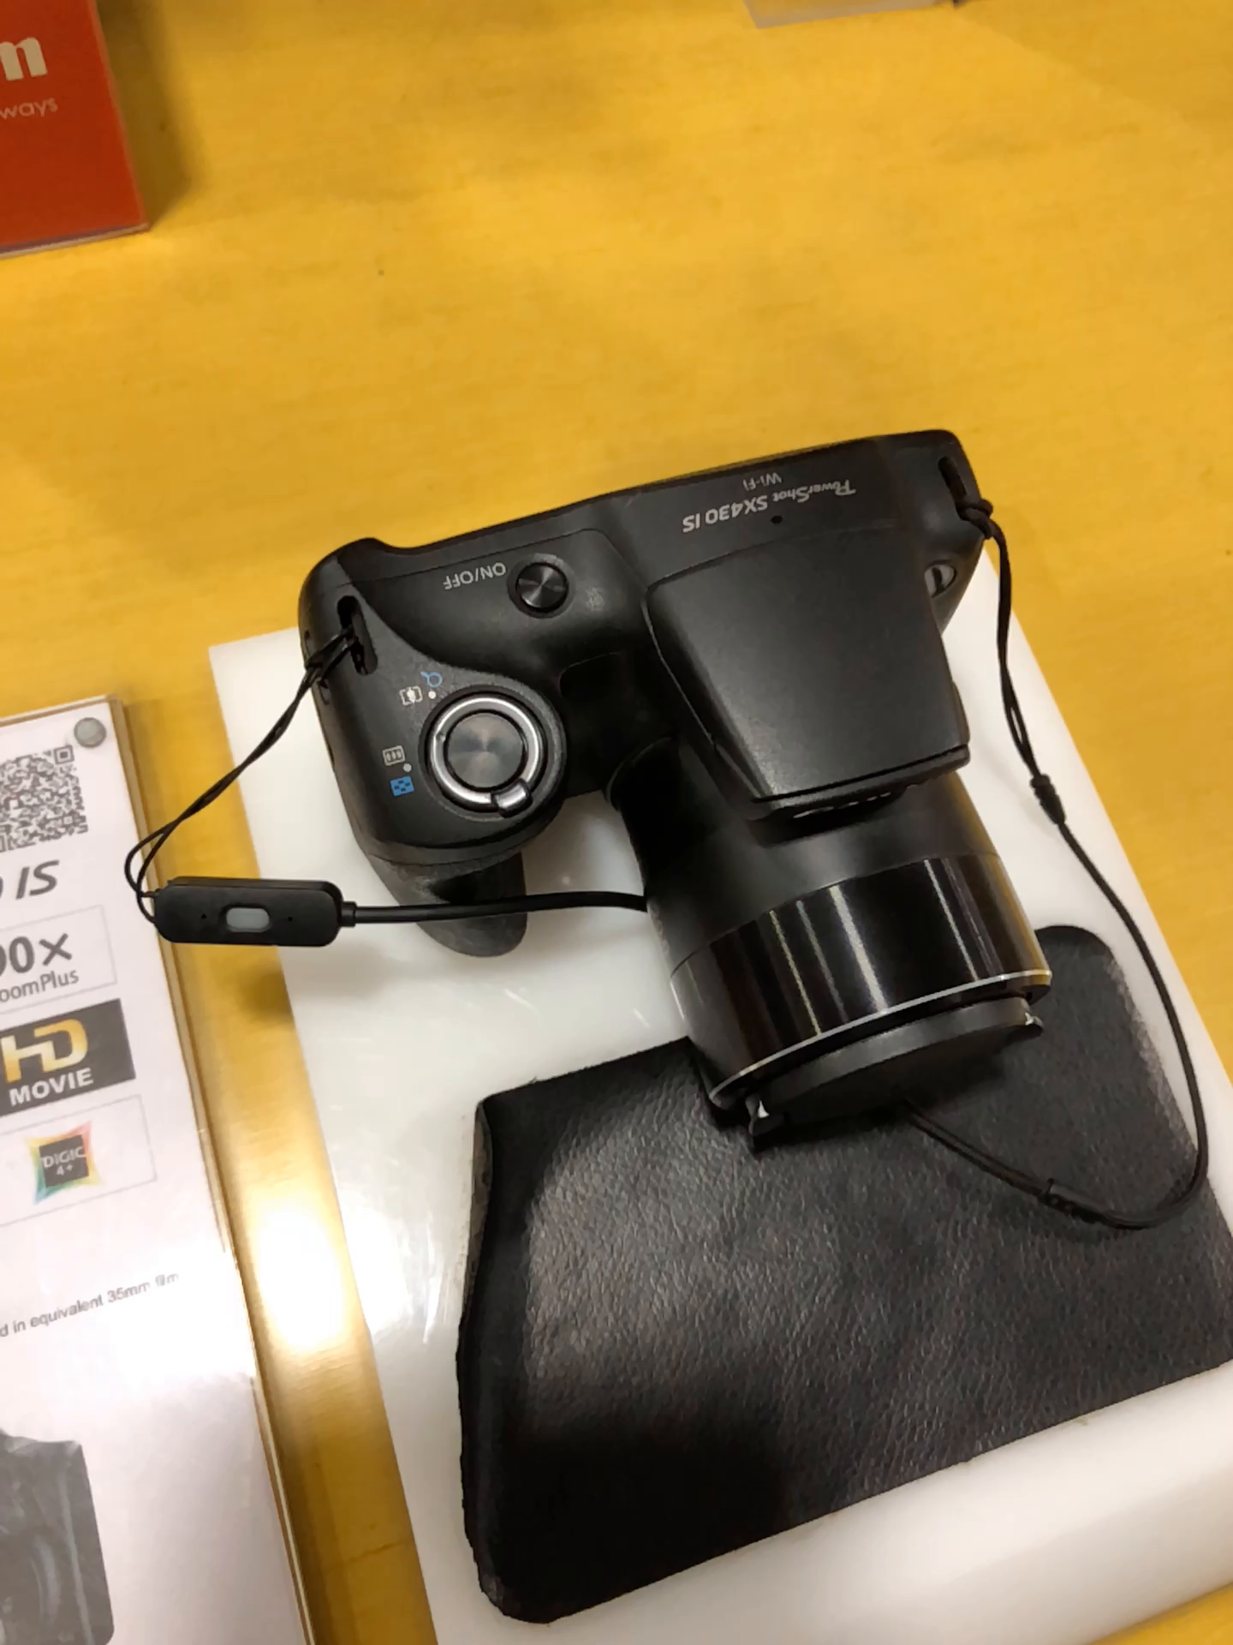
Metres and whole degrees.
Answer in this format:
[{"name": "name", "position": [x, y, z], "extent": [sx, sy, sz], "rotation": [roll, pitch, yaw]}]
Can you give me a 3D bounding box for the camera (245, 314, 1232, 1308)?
[{"name": "camera", "position": [0.019, 0.004, 0.198], "extent": [0.110, 0.090, 0.090], "rotation": [-15, 70, -12]}]
